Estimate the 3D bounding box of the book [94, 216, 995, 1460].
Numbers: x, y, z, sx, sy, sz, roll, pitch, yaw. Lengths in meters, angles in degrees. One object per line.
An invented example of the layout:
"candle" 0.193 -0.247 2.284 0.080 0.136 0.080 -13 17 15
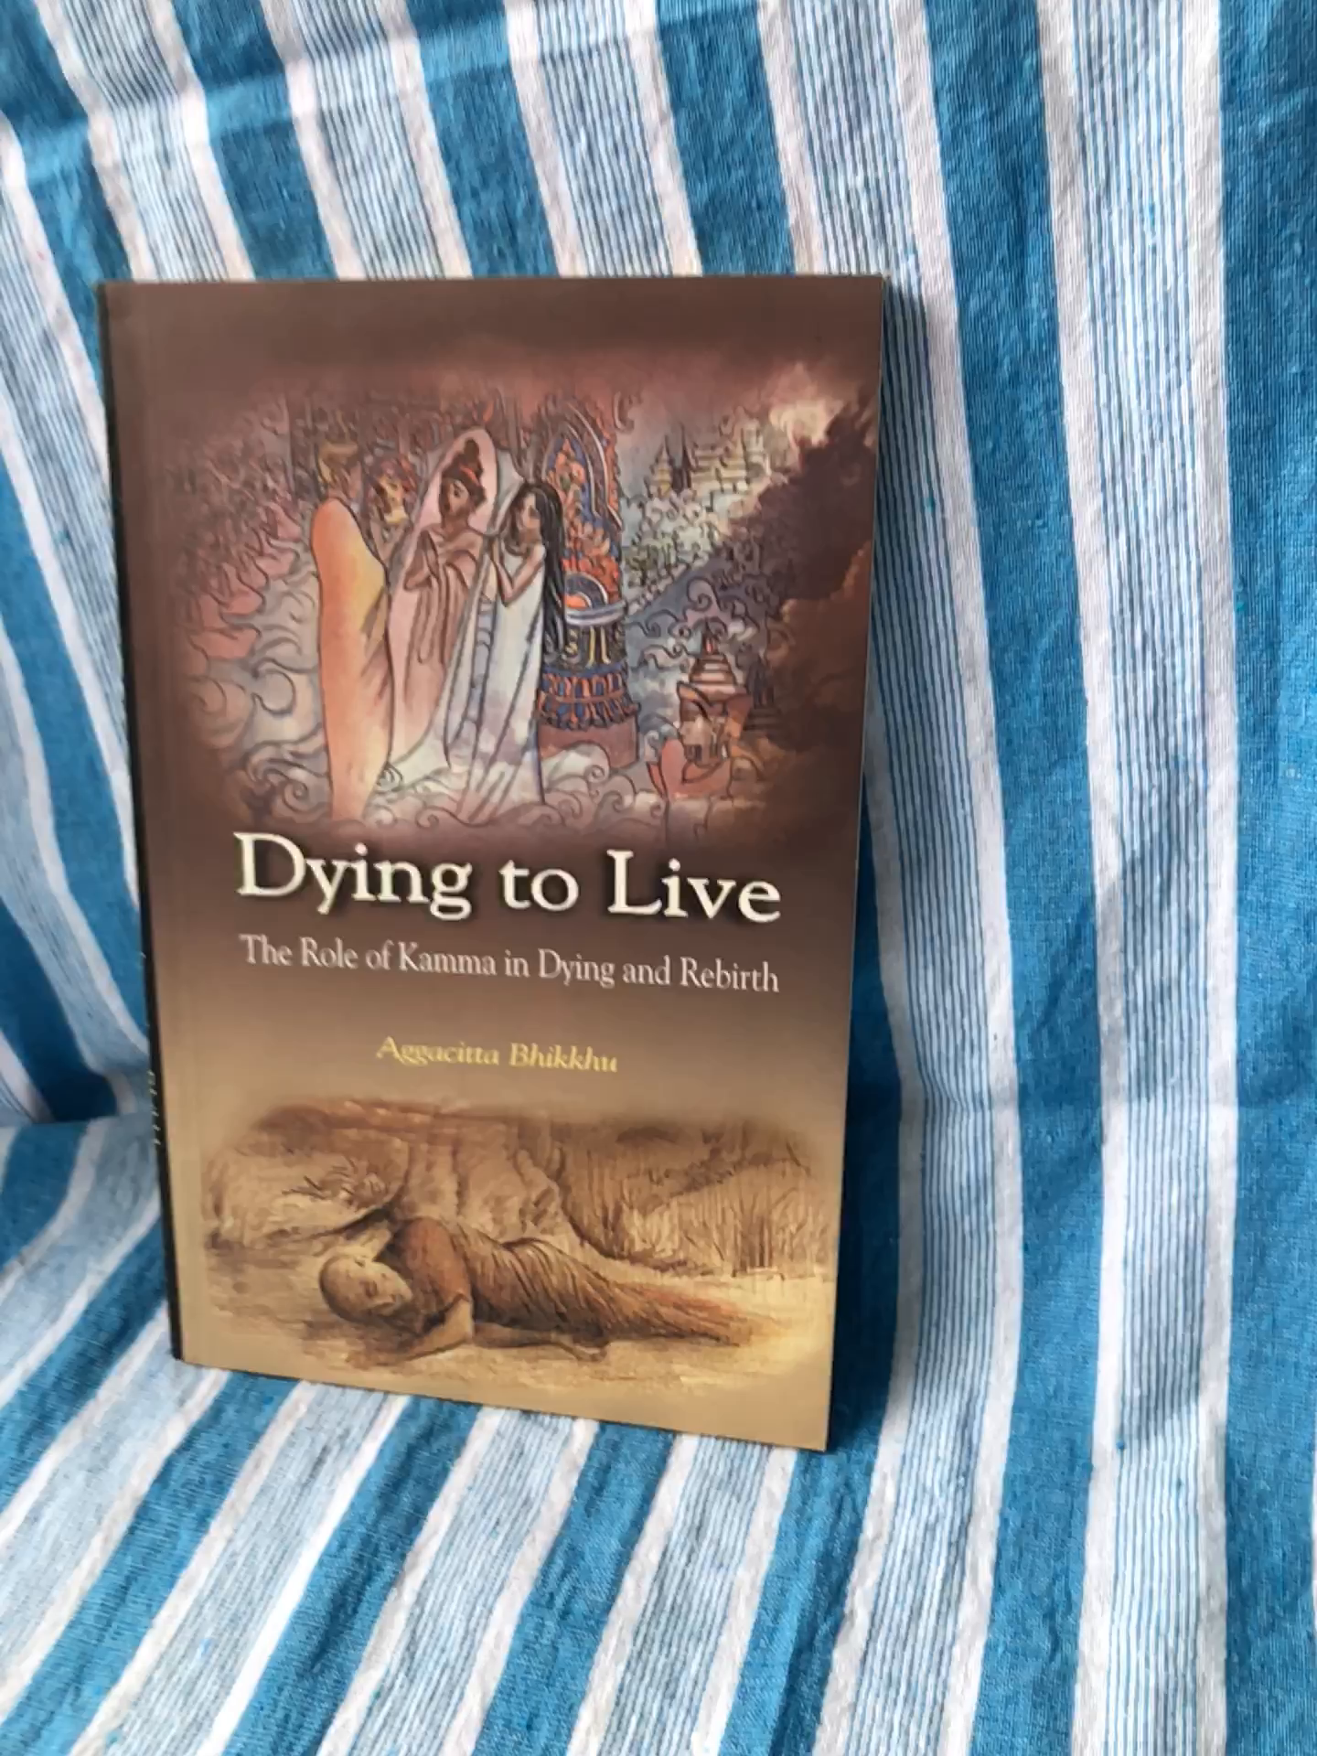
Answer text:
"book" -0.027 -0.005 0.269 0.150 0.210 0.020 5 11 8
